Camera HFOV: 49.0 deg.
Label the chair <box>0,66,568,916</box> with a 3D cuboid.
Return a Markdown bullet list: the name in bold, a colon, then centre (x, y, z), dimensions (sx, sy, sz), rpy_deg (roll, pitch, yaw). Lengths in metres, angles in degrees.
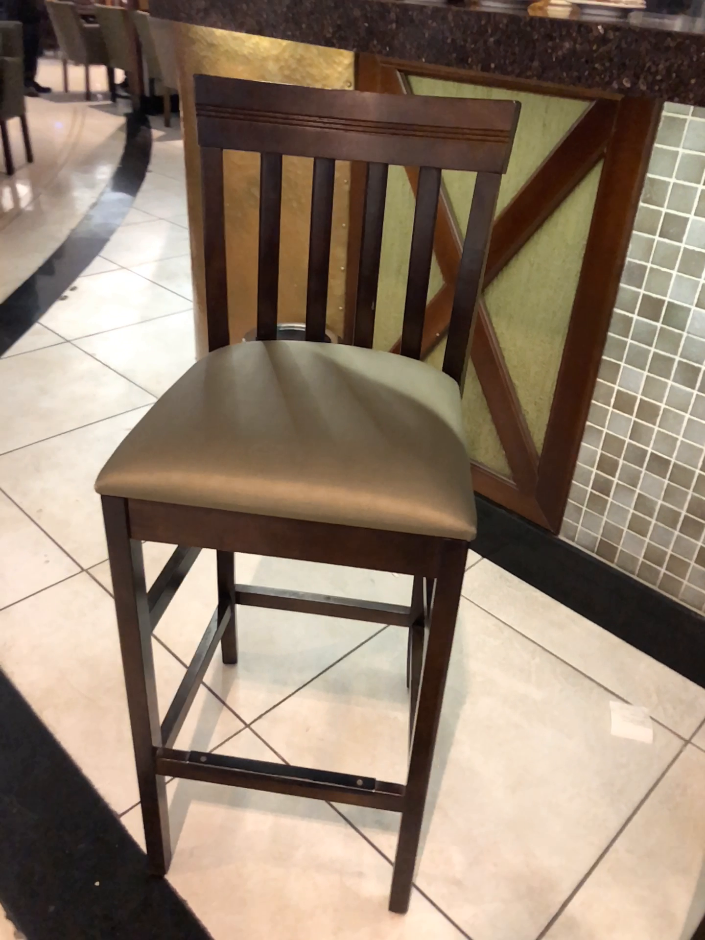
- **chair**: centre (-0.066, 0.056, 1.075), dimensions (0.460, 1.032, 0.494), rpy_deg (6, 32, 4)
